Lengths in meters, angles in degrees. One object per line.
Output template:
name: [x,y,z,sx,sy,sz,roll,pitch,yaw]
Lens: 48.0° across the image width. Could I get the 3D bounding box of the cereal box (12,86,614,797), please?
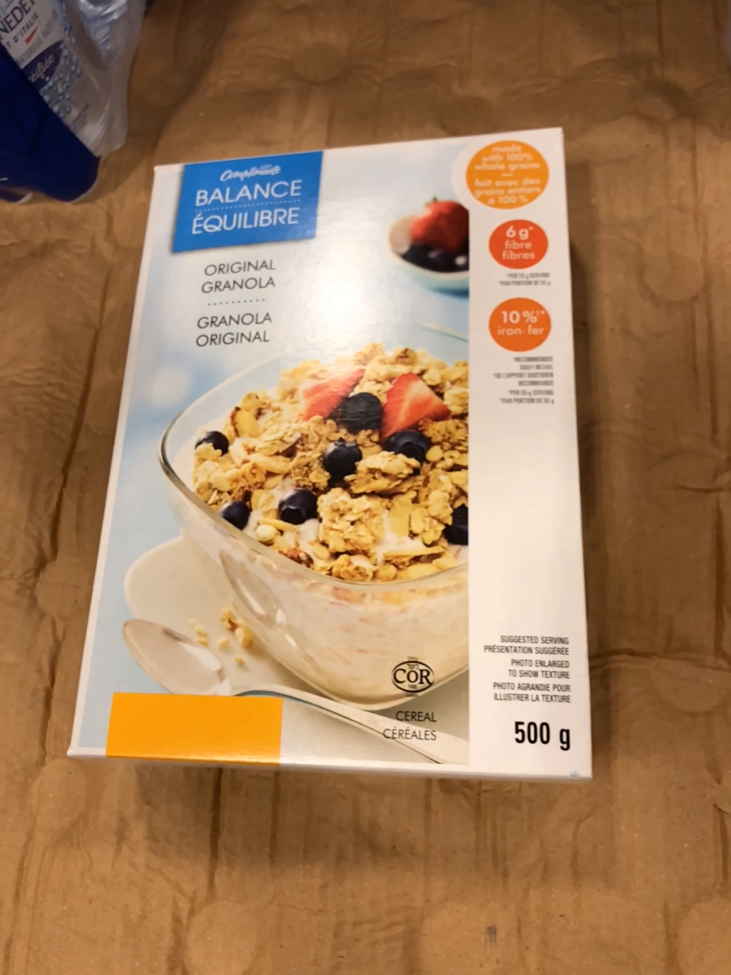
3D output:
cereal box: [-0.012,-0.023,0.304,0.180,0.050,0.250,-1,70,9]
